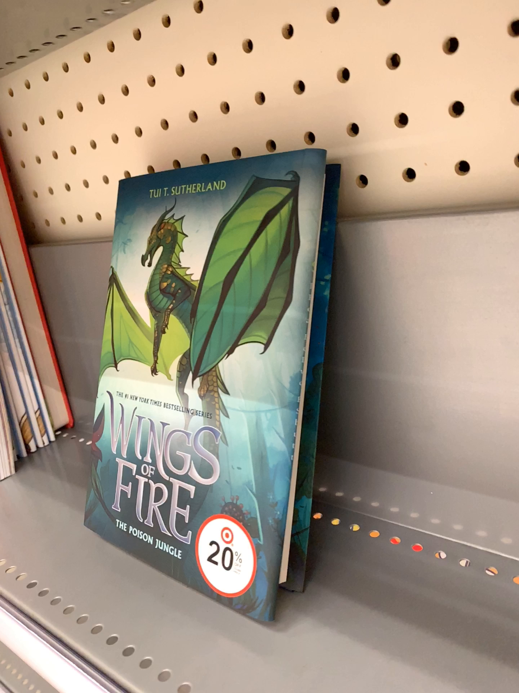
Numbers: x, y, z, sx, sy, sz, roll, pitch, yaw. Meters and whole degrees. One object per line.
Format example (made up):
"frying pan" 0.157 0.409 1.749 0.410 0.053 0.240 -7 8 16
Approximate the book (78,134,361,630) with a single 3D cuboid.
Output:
"book" -0.031 0.010 0.294 0.151 0.215 0.036 6 0 40
